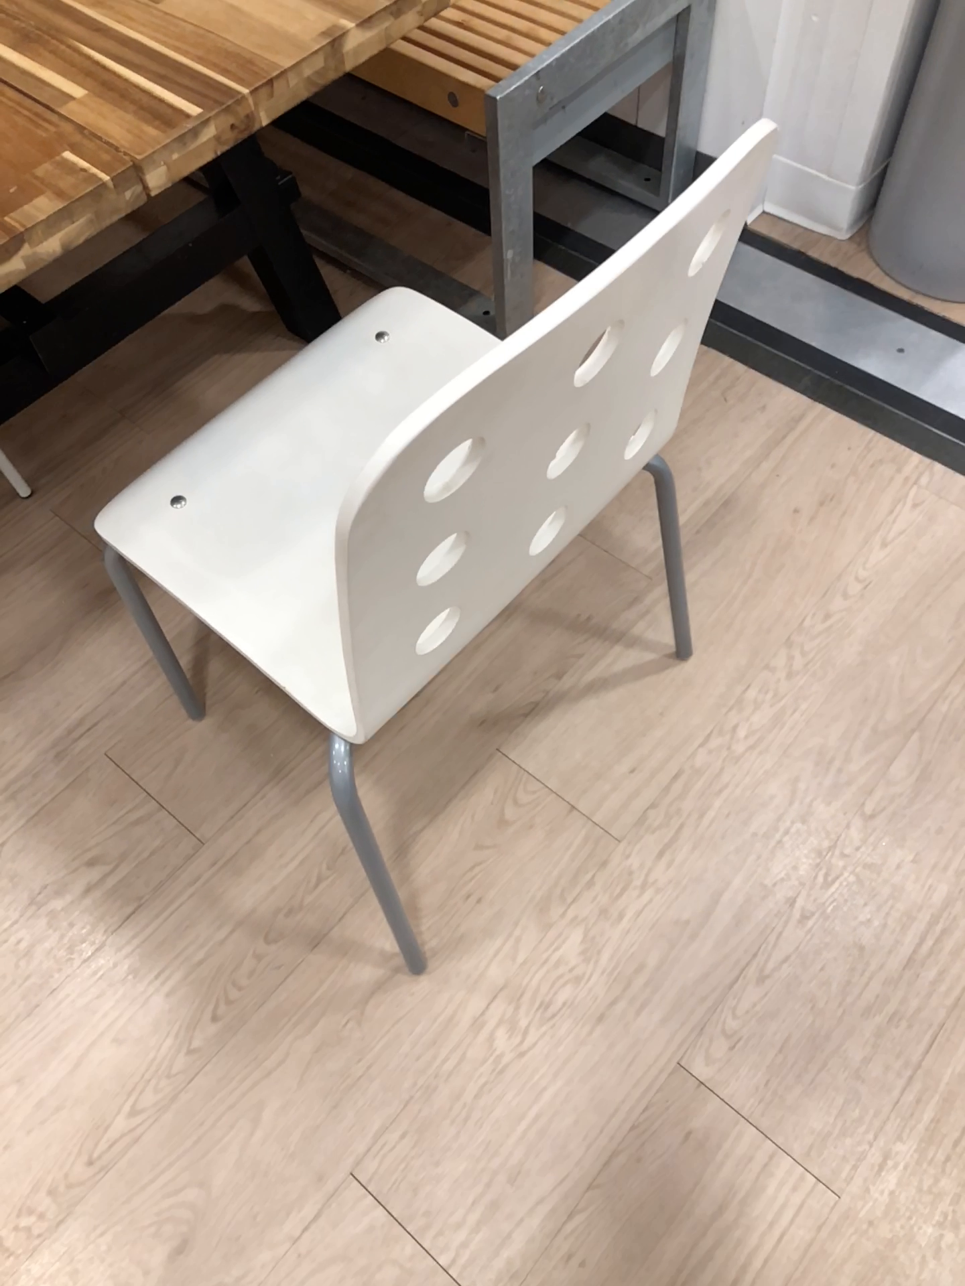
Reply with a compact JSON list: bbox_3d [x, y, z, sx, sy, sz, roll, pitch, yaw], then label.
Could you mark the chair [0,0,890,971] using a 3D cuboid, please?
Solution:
[{"bbox_3d":[-0.068,-0.166,1.008,0.491,0.717,0.571,32,65,22],"label":"chair"}]
